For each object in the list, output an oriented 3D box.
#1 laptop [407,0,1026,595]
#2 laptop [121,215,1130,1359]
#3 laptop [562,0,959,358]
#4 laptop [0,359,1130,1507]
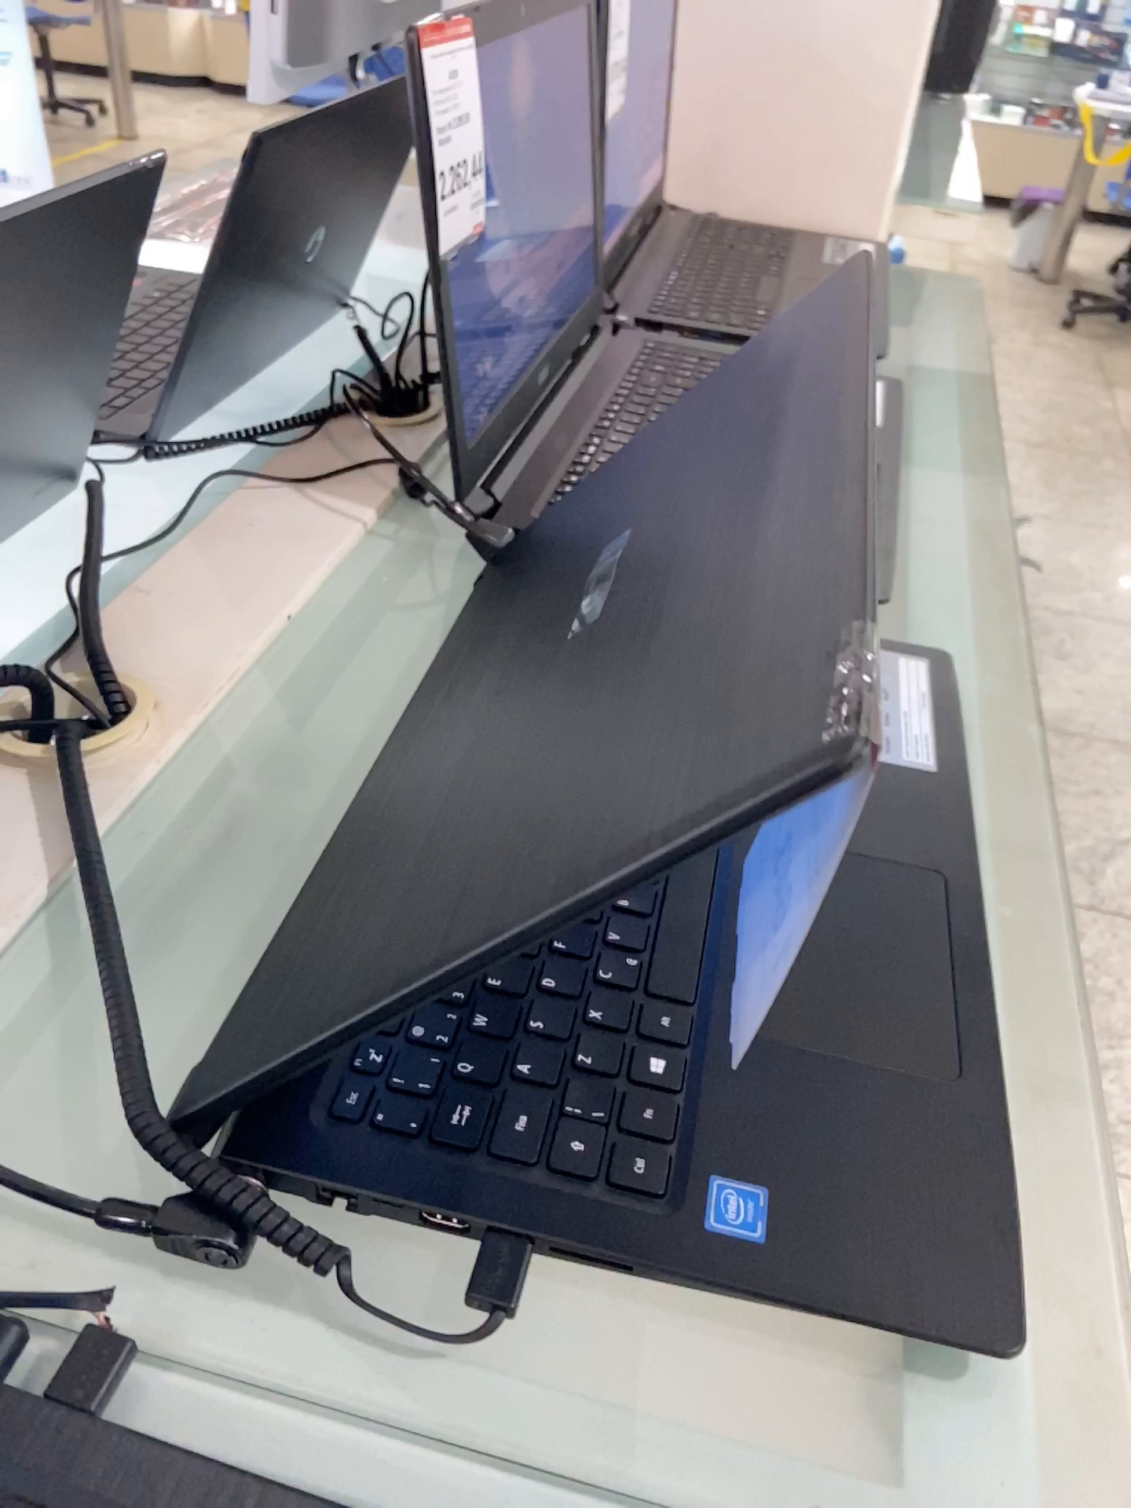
[{"bbox_3d":[0.106,-0.327,0.762,0.283,0.247,0.401,12,37,8],"label":"laptop"},{"bbox_3d":[0.059,-0.040,0.430,0.238,0.185,0.381,11,38,7],"label":"laptop"},{"bbox_3d":[0.179,-0.571,1.058,0.283,0.241,0.325,15,41,12],"label":"laptop"},{"bbox_3d":[-0.130,0.188,0.052,0.325,0.231,0.402,14,37,9],"label":"laptop"}]
